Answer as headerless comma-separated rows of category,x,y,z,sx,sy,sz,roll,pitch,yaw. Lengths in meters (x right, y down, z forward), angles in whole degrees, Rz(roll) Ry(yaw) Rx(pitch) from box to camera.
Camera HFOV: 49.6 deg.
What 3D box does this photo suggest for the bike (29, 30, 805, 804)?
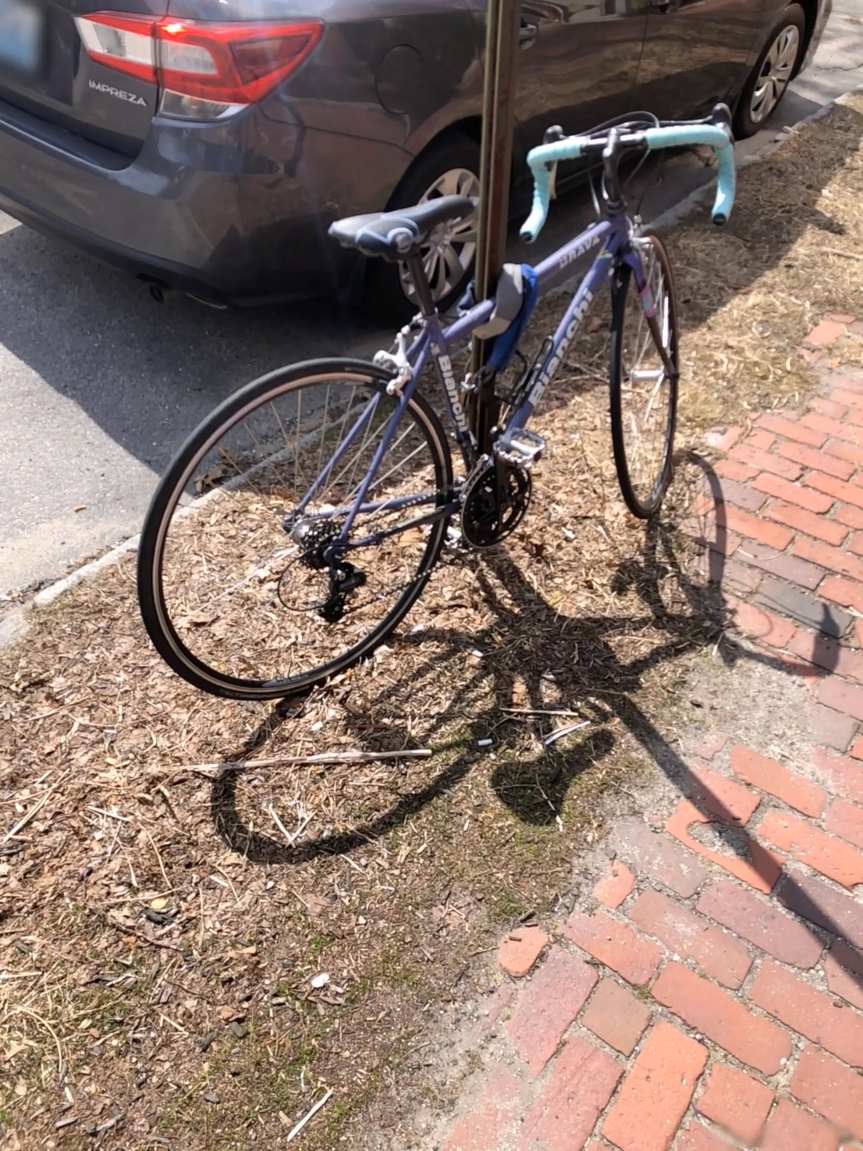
bike,0.047,-0.408,1.826,1.454,0.734,0.460,-36,52,-29
